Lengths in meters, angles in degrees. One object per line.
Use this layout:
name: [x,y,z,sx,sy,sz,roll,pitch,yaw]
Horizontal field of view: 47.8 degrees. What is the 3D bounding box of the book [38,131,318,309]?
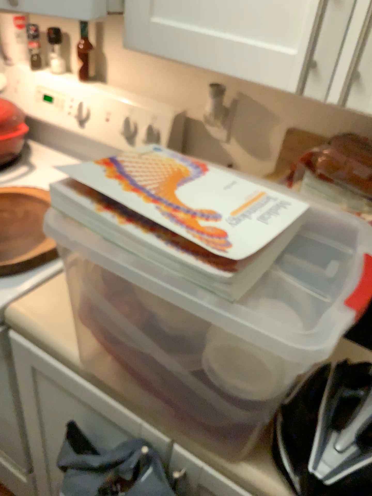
book: [-0.004,-0.063,0.562,0.290,0.050,0.230,25,38,22]
